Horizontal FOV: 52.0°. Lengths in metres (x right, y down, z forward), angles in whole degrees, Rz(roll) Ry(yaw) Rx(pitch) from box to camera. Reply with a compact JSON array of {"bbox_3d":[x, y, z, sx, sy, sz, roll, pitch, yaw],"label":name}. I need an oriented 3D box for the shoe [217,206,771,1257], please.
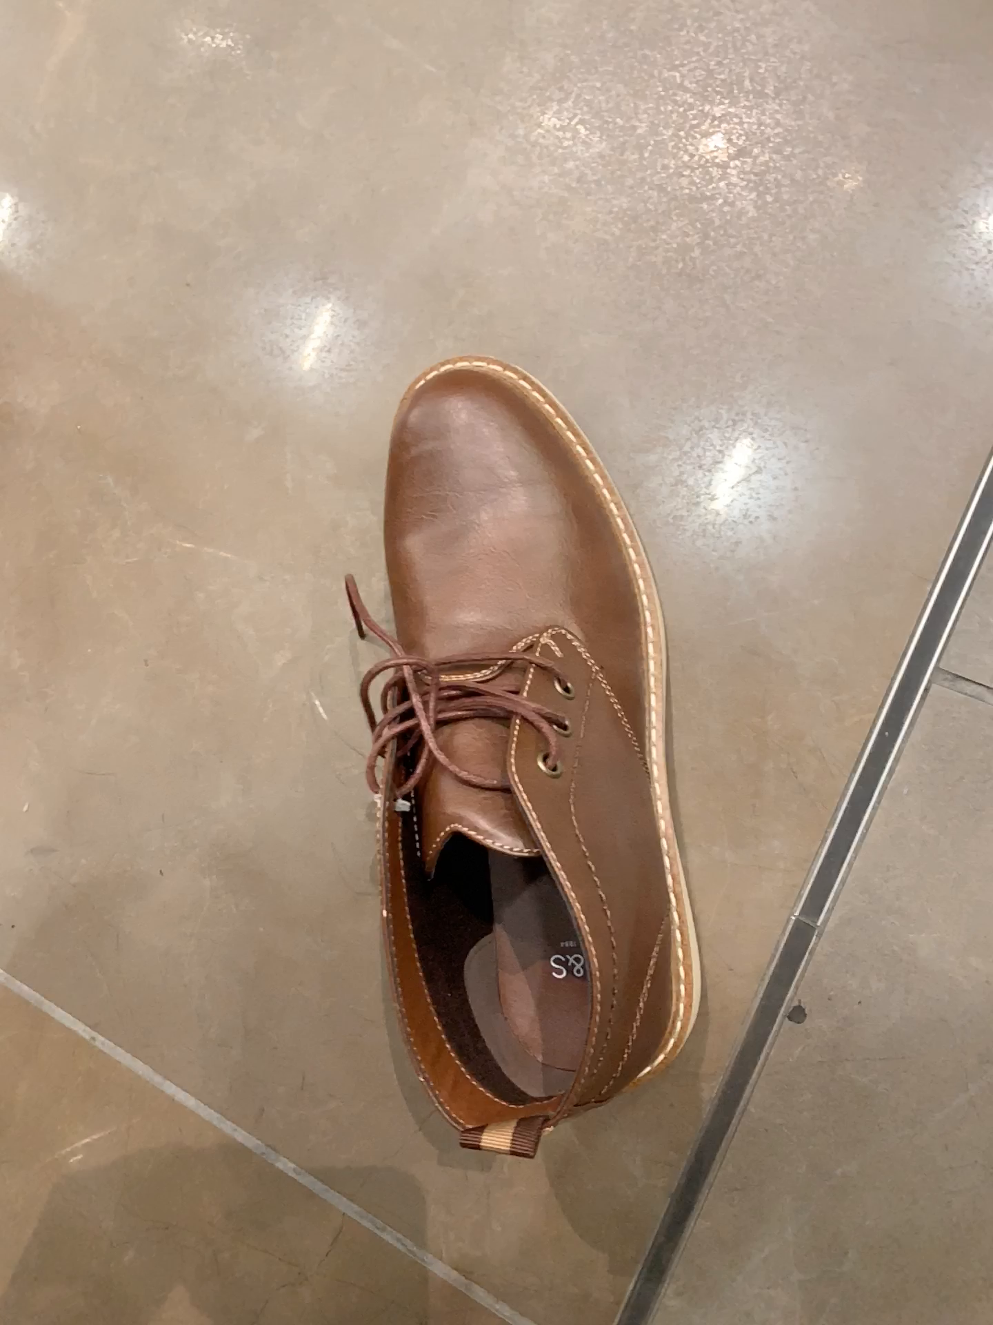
[{"bbox_3d":[0.005,0.022,0.358,0.107,0.120,0.295,-14,82,17],"label":"shoe"}]
